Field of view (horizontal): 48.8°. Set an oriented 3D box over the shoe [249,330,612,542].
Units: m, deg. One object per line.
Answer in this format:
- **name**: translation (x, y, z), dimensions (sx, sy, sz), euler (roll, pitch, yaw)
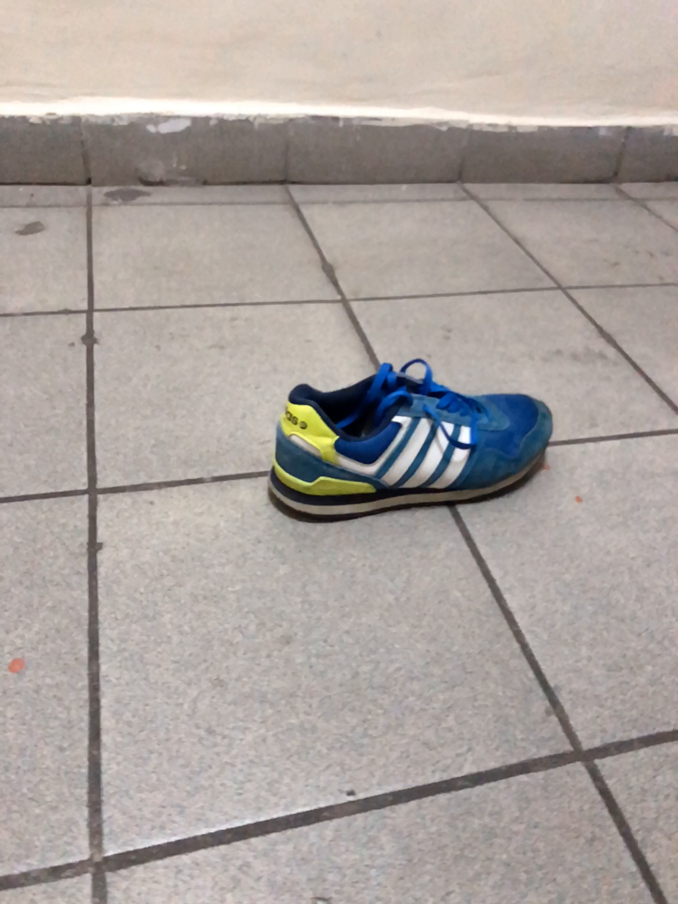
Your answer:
- **shoe**: translation (0.076, -0.022, 0.668), dimensions (0.292, 0.099, 0.111), euler (-10, 42, -19)
